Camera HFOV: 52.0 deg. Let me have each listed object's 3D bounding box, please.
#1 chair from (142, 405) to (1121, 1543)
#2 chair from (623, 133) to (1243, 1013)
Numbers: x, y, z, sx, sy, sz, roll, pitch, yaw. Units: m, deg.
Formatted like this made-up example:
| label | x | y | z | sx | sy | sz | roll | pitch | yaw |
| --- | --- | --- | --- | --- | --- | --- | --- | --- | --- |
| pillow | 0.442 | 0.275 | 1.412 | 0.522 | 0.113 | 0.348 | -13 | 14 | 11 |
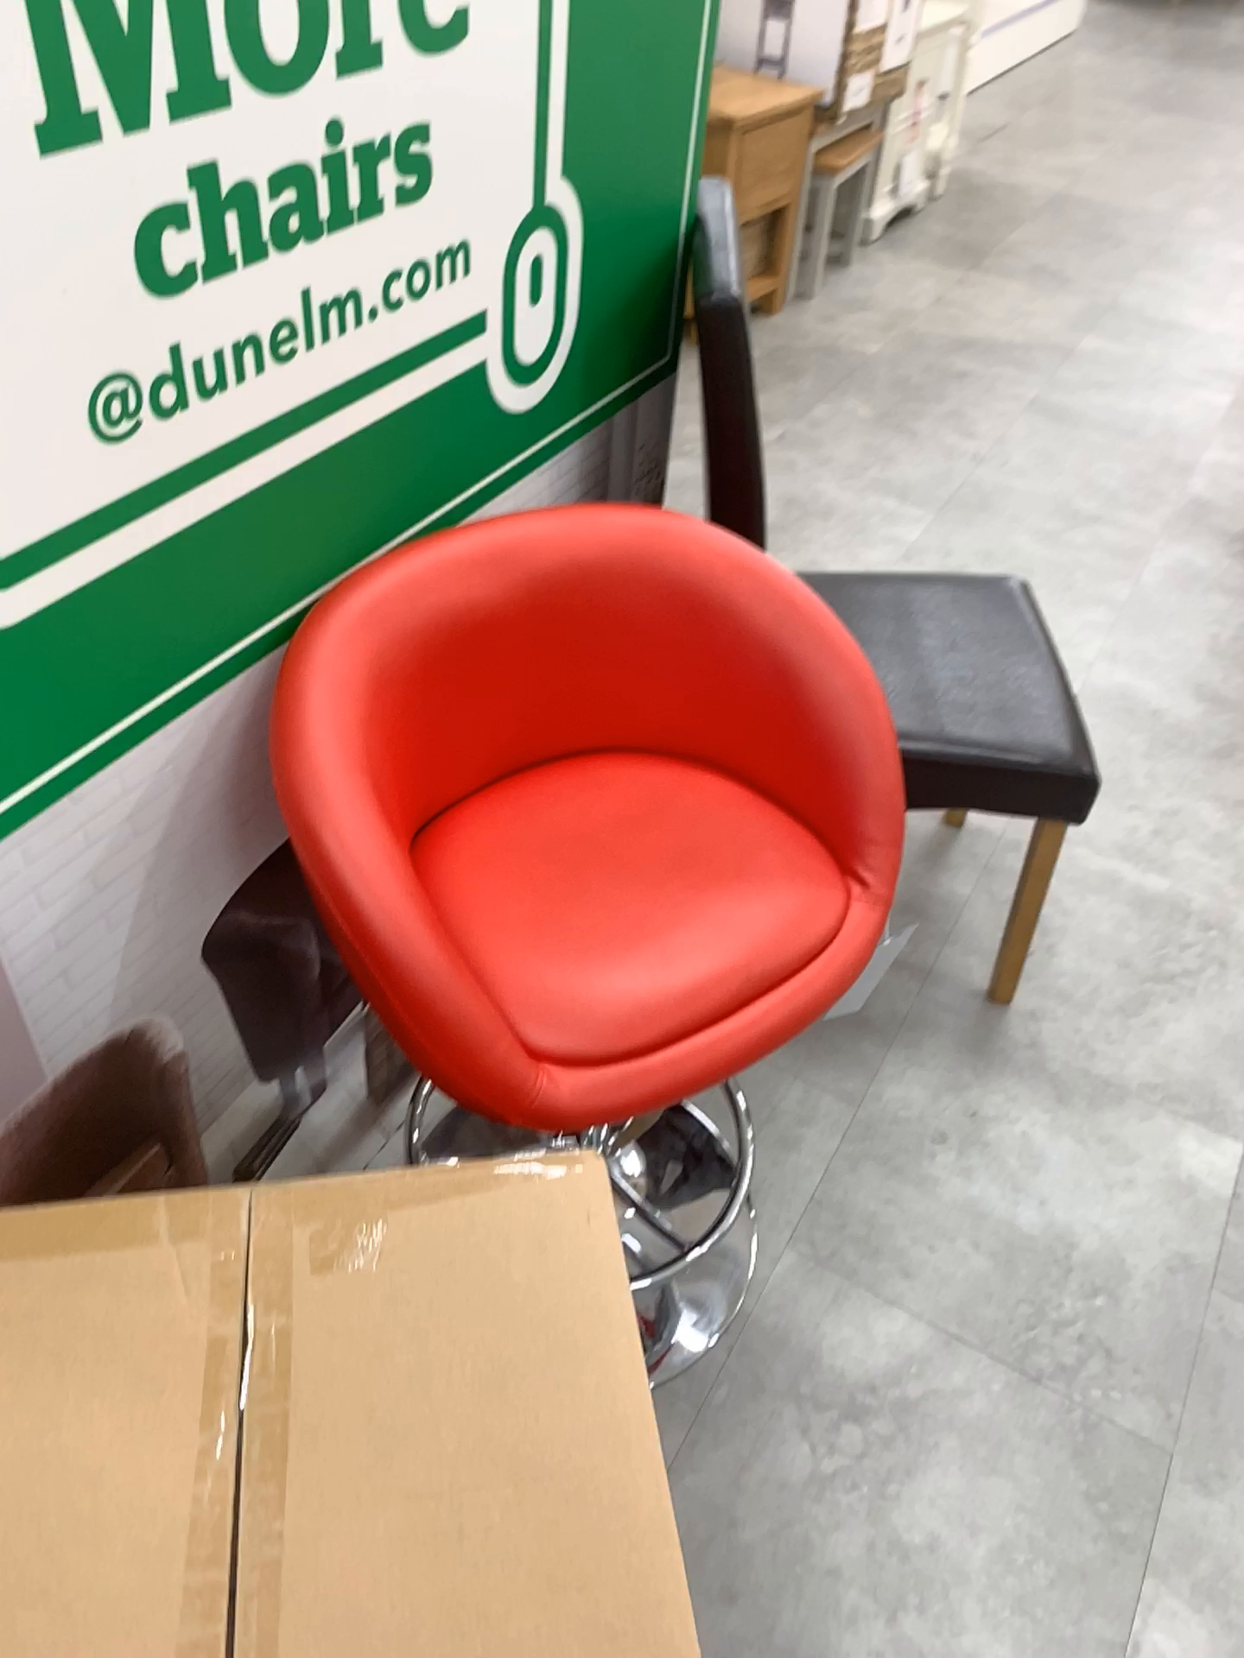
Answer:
| label | x | y | z | sx | sy | sz | roll | pitch | yaw |
| --- | --- | --- | --- | --- | --- | --- | --- | --- | --- |
| chair | -0.021 | 0.130 | 1.145 | 0.496 | 0.761 | 0.480 | -26 | 51 | -30 |
| chair | 0.299 | -0.263 | 1.562 | 0.517 | 0.919 | 0.449 | 5 | 42 | -1 |
